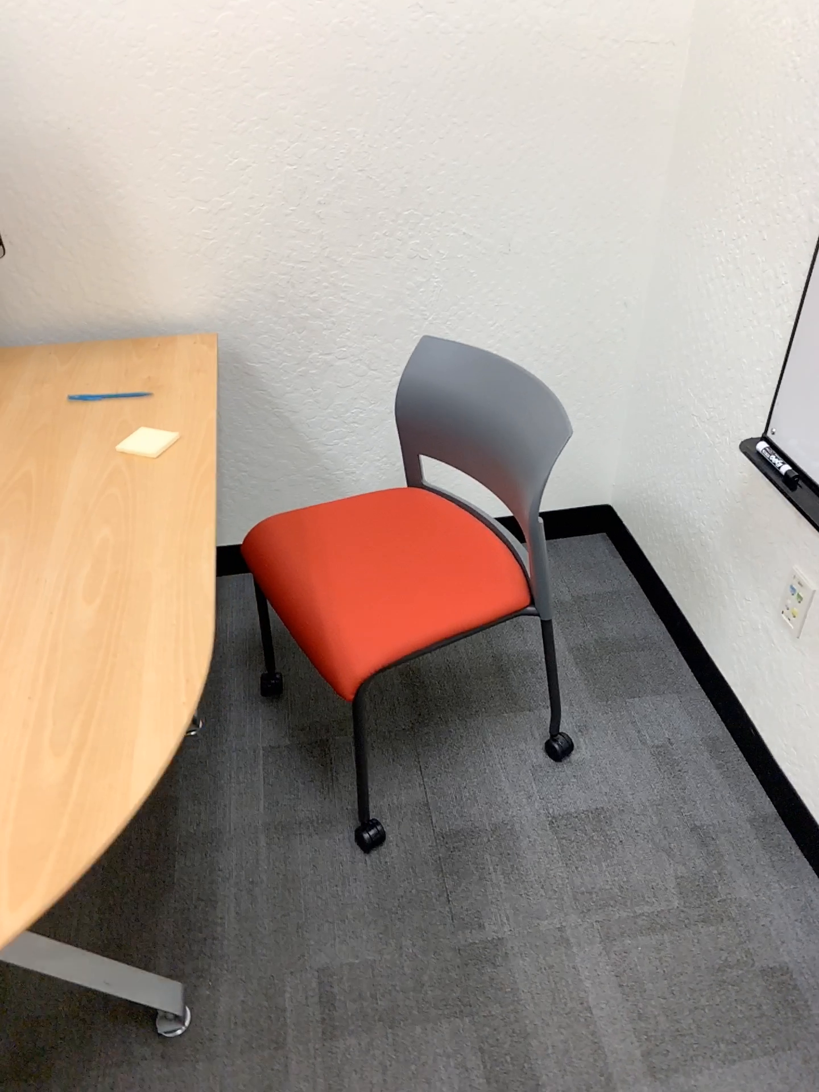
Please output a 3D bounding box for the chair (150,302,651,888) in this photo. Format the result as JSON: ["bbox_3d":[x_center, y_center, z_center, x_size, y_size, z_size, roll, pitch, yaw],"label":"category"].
[{"bbox_3d":[-0.048,0.071,1.932,0.721,0.914,0.744,-20,42,-23],"label":"chair"}]
